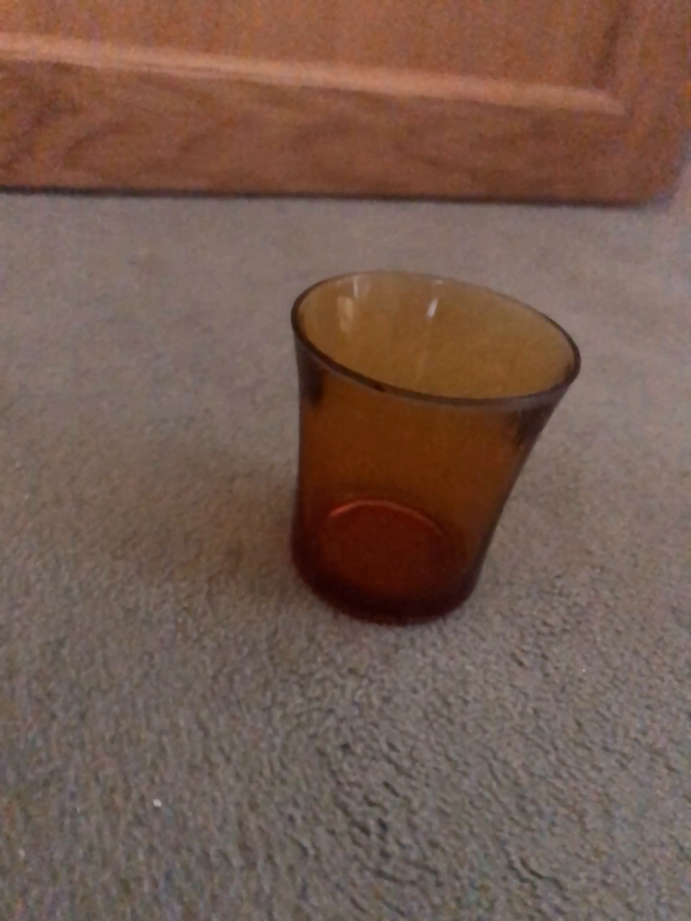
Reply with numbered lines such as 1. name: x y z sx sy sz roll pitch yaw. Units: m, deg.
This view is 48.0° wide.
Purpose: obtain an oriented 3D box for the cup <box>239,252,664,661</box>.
1. cup: 0.020 -0.007 0.202 0.070 0.070 0.070 7 33 -5
